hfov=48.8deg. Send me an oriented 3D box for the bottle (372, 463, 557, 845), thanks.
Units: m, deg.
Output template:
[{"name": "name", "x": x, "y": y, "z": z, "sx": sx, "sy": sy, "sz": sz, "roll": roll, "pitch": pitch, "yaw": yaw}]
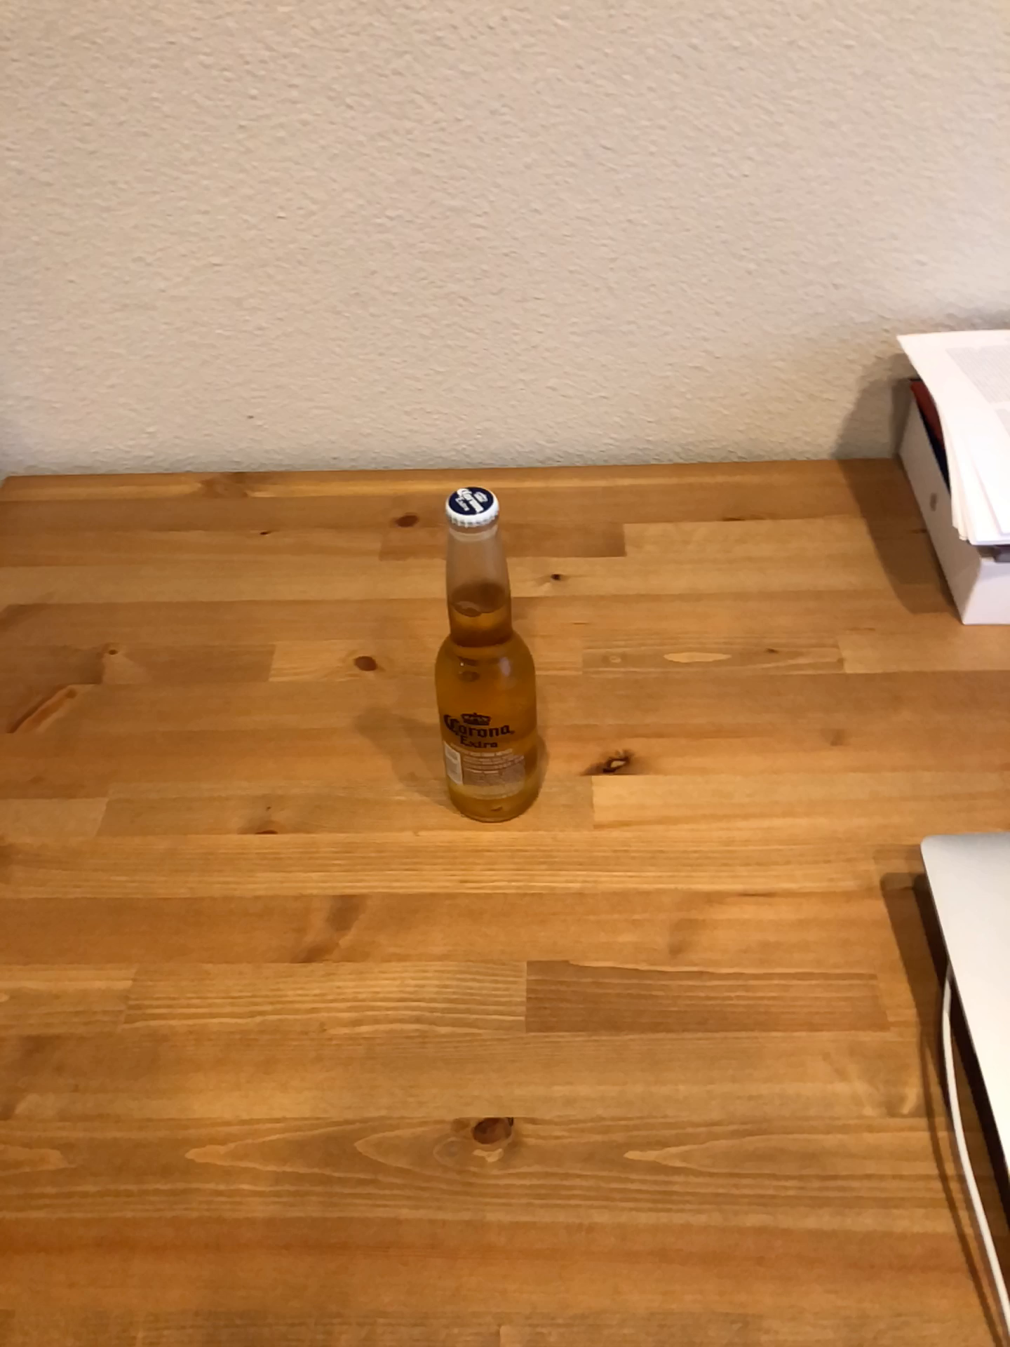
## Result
[{"name": "bottle", "x": -0.017, "y": -0.004, "z": 0.674, "sx": 0.070, "sy": 0.229, "sz": 0.070, "roll": -2, "pitch": 44, "yaw": 2}]
